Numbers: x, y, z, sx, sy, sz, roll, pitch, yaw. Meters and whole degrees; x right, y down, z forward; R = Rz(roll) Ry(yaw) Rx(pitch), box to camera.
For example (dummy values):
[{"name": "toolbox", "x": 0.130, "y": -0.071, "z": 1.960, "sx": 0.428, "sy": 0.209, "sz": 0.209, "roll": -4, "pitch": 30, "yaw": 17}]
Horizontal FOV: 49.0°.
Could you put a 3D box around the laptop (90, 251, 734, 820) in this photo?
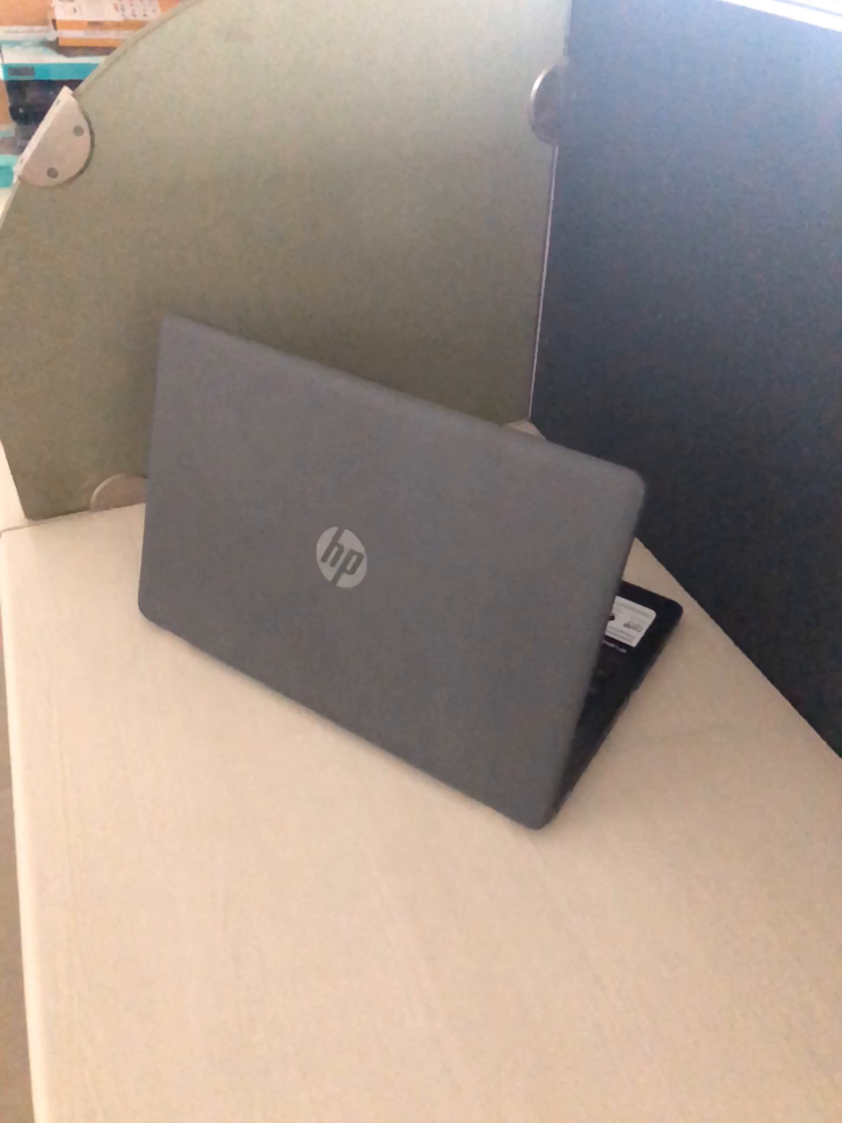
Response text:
[{"name": "laptop", "x": -0.010, "y": -0.047, "z": 0.683, "sx": 0.360, "sy": 0.215, "sz": 0.239, "roll": 23, "pitch": 45, "yaw": 27}]
